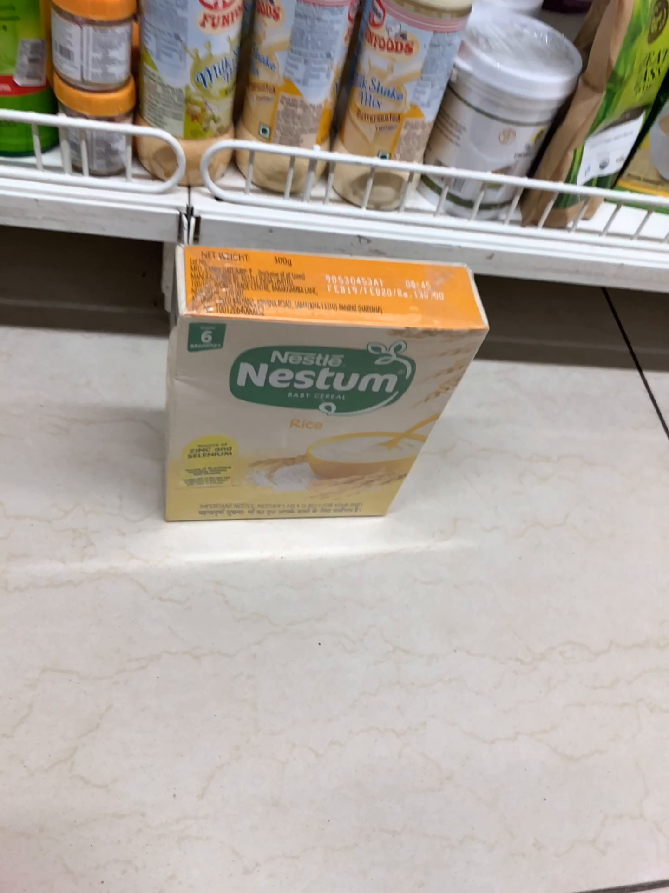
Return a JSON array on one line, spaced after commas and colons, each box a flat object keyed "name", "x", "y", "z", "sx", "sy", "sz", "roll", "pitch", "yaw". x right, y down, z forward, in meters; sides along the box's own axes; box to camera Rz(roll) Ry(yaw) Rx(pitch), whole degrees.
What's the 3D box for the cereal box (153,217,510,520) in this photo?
[{"name": "cereal box", "x": -0.018, "y": -0.030, "z": 0.417, "sx": 0.160, "sy": 0.189, "sz": 0.050, "roll": 0, "pitch": 55, "yaw": -15}]
